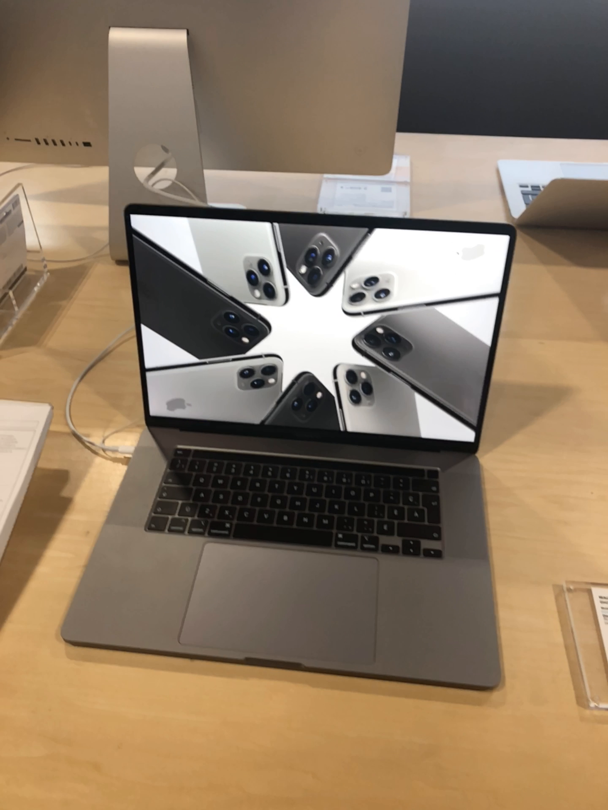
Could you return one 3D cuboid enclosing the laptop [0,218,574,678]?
[{"bbox_3d":[-0.005,0.020,0.561,0.344,0.227,0.293,4,42,5],"label":"laptop"}]
